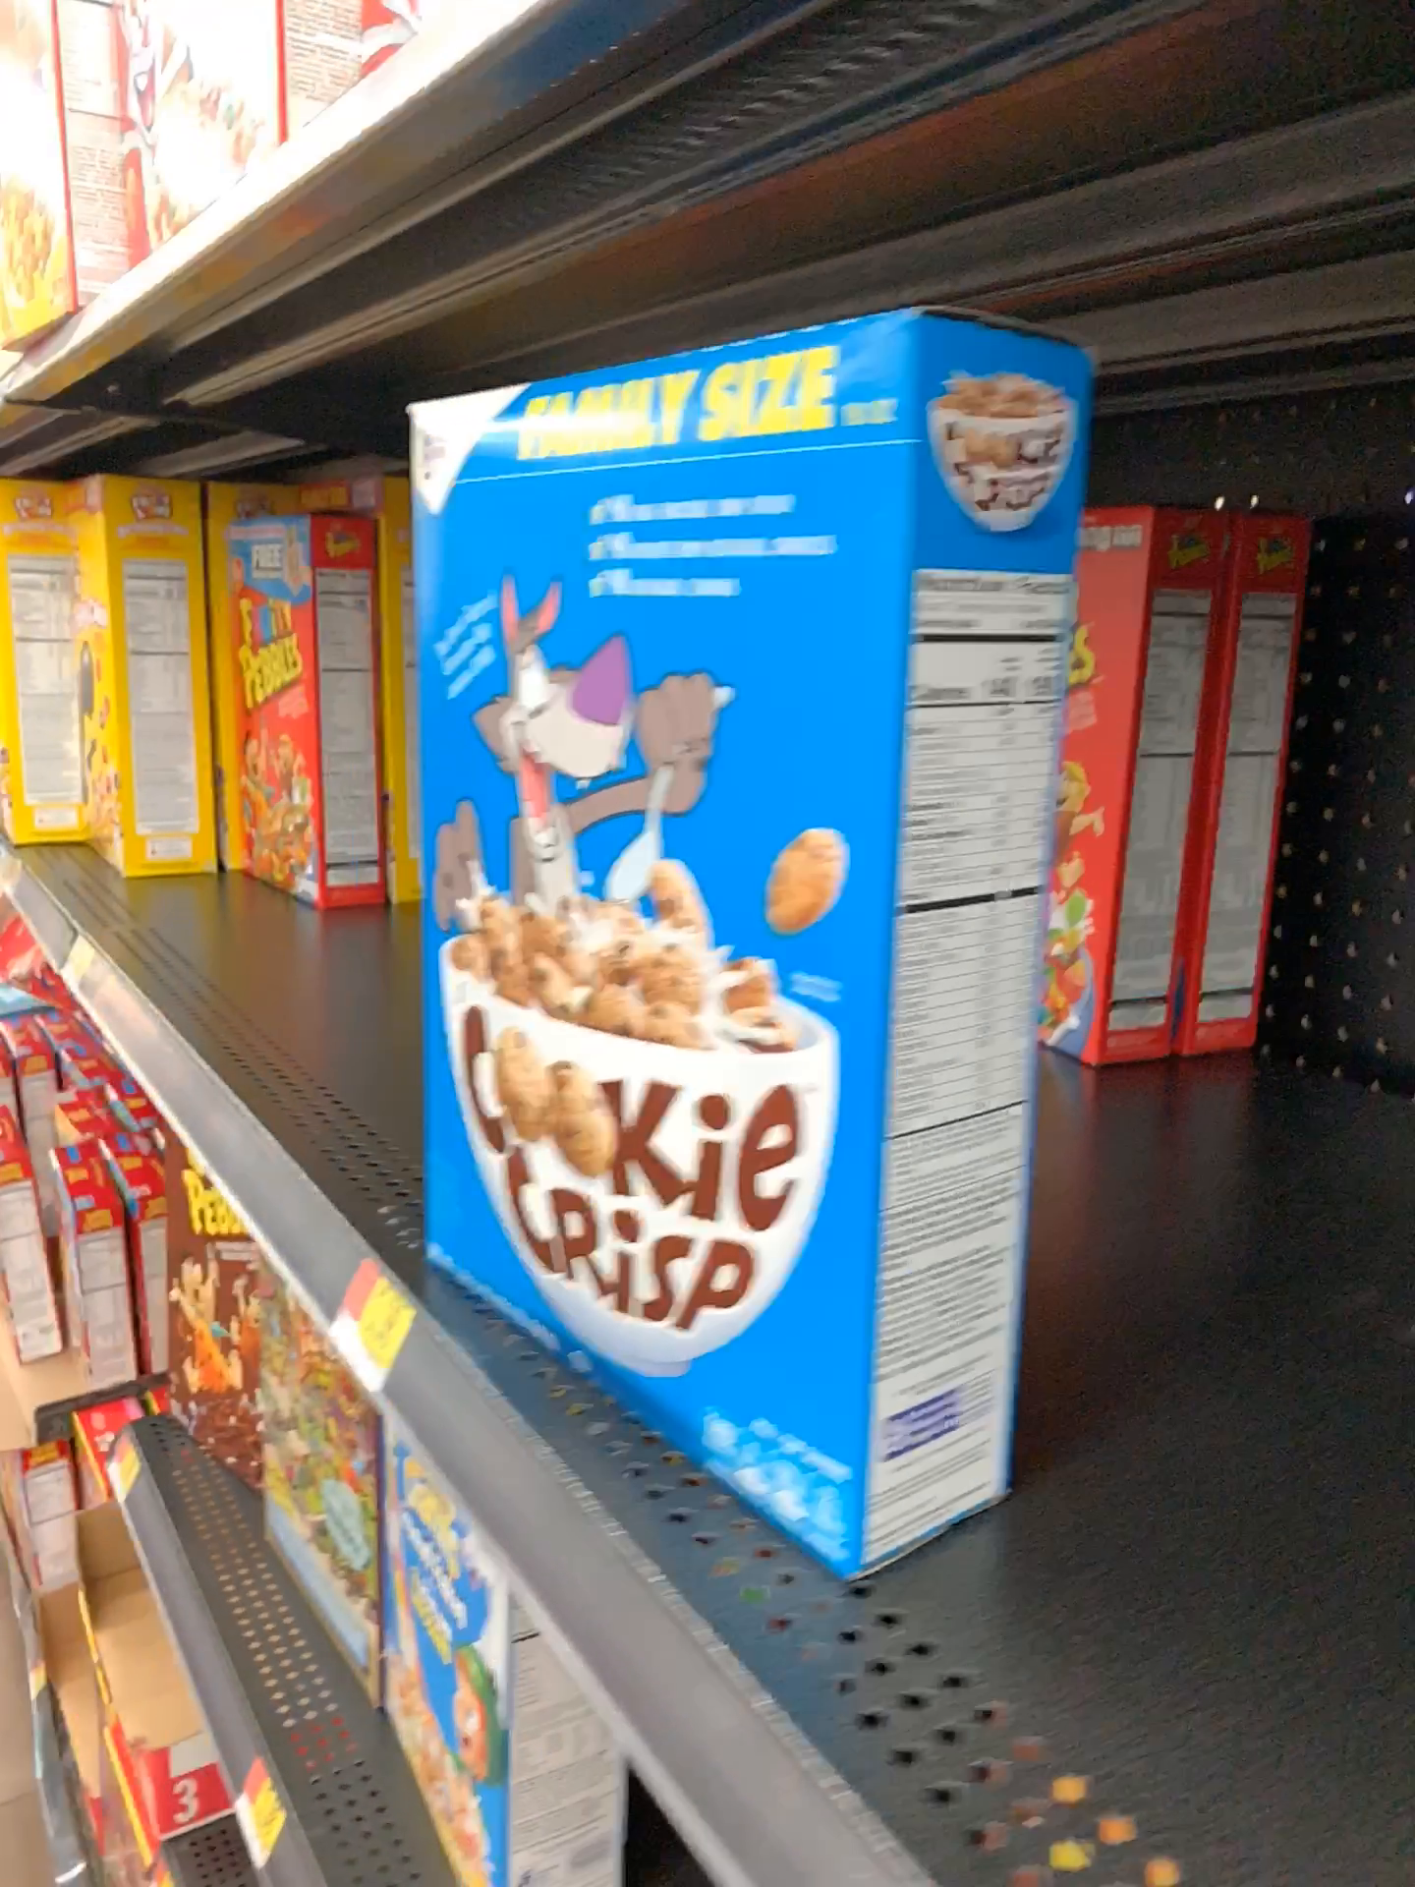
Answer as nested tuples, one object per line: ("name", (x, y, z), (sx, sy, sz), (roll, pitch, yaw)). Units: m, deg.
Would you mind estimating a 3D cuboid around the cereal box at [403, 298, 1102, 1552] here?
("cereal box", (-0.006, -0.018, 0.498), (0.070, 0.339, 0.251), (-10, 17, -40))
